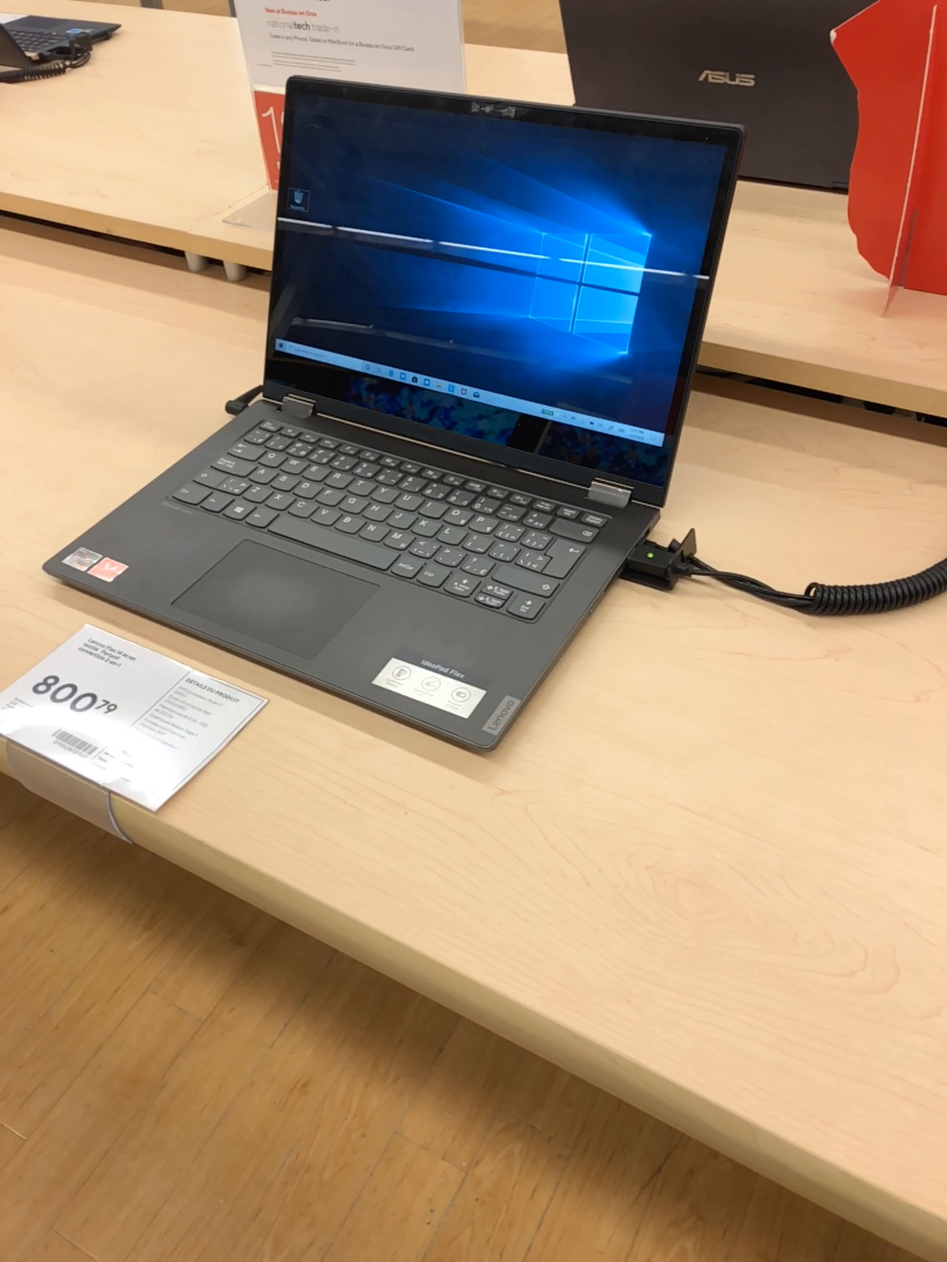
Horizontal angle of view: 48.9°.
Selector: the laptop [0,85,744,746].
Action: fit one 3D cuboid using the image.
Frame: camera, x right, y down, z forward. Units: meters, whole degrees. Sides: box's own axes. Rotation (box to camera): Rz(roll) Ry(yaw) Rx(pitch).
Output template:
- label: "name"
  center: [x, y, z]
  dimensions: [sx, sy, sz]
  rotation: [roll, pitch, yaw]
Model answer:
- label: "laptop"
  center: [-0.059, -0.156, 0.618]
  dimensions: [0.319, 0.198, 0.306]
  rotation: [20, 49, 24]
